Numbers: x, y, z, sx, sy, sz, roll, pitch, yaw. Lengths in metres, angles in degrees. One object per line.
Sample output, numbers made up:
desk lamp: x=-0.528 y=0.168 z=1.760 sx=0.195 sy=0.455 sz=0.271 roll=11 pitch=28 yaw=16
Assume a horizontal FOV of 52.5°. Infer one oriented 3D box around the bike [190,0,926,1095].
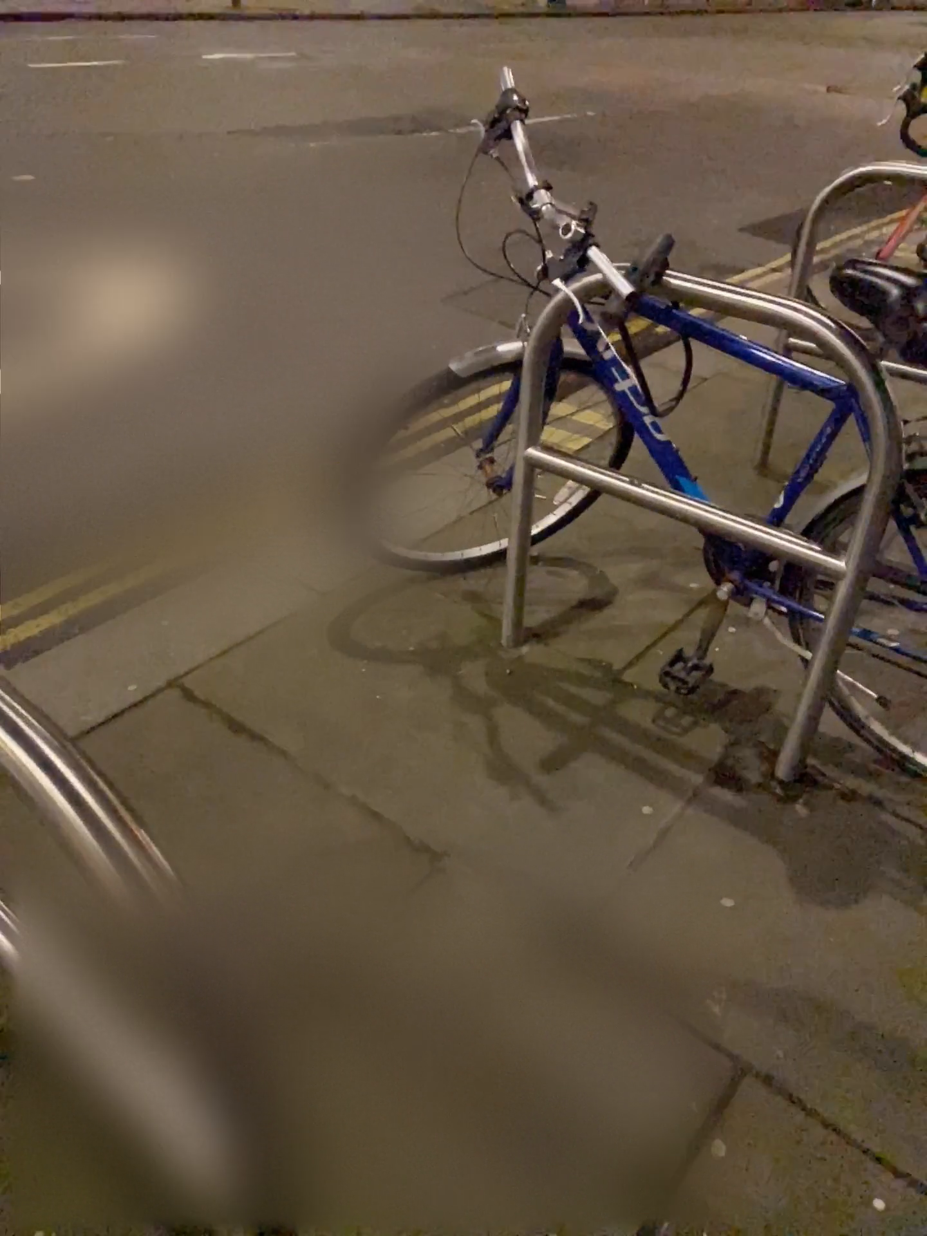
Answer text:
bike: x=0.492 y=-0.233 z=1.505 sx=1.596 sy=1.108 sz=0.658 roll=23 pitch=41 yaw=23
